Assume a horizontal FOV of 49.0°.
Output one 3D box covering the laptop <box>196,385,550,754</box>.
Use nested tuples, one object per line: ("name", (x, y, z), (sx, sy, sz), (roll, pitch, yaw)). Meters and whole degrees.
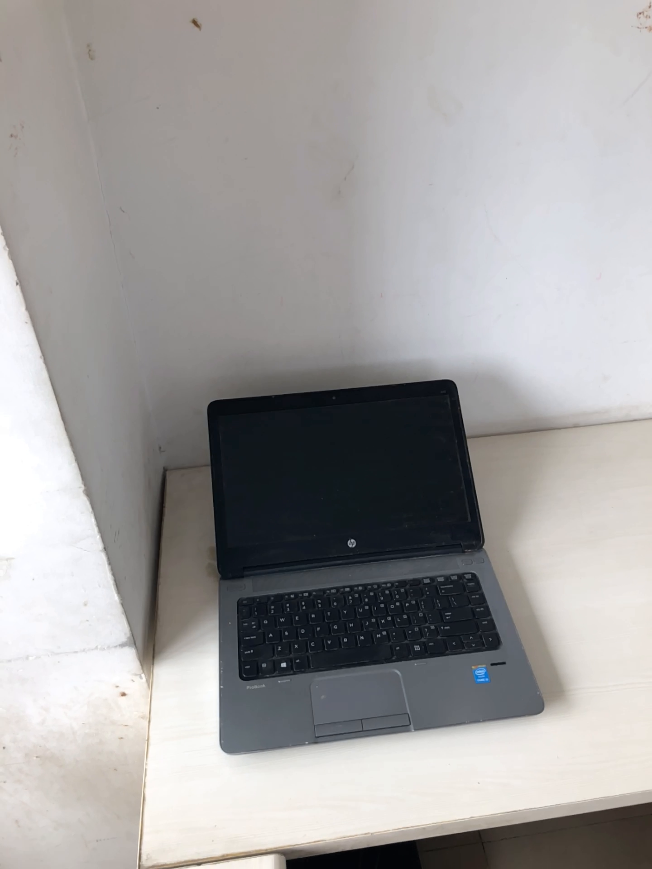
("laptop", (0.025, 0.125, 0.851), (0.328, 0.137, 0.407), (-4, 39, -6))
